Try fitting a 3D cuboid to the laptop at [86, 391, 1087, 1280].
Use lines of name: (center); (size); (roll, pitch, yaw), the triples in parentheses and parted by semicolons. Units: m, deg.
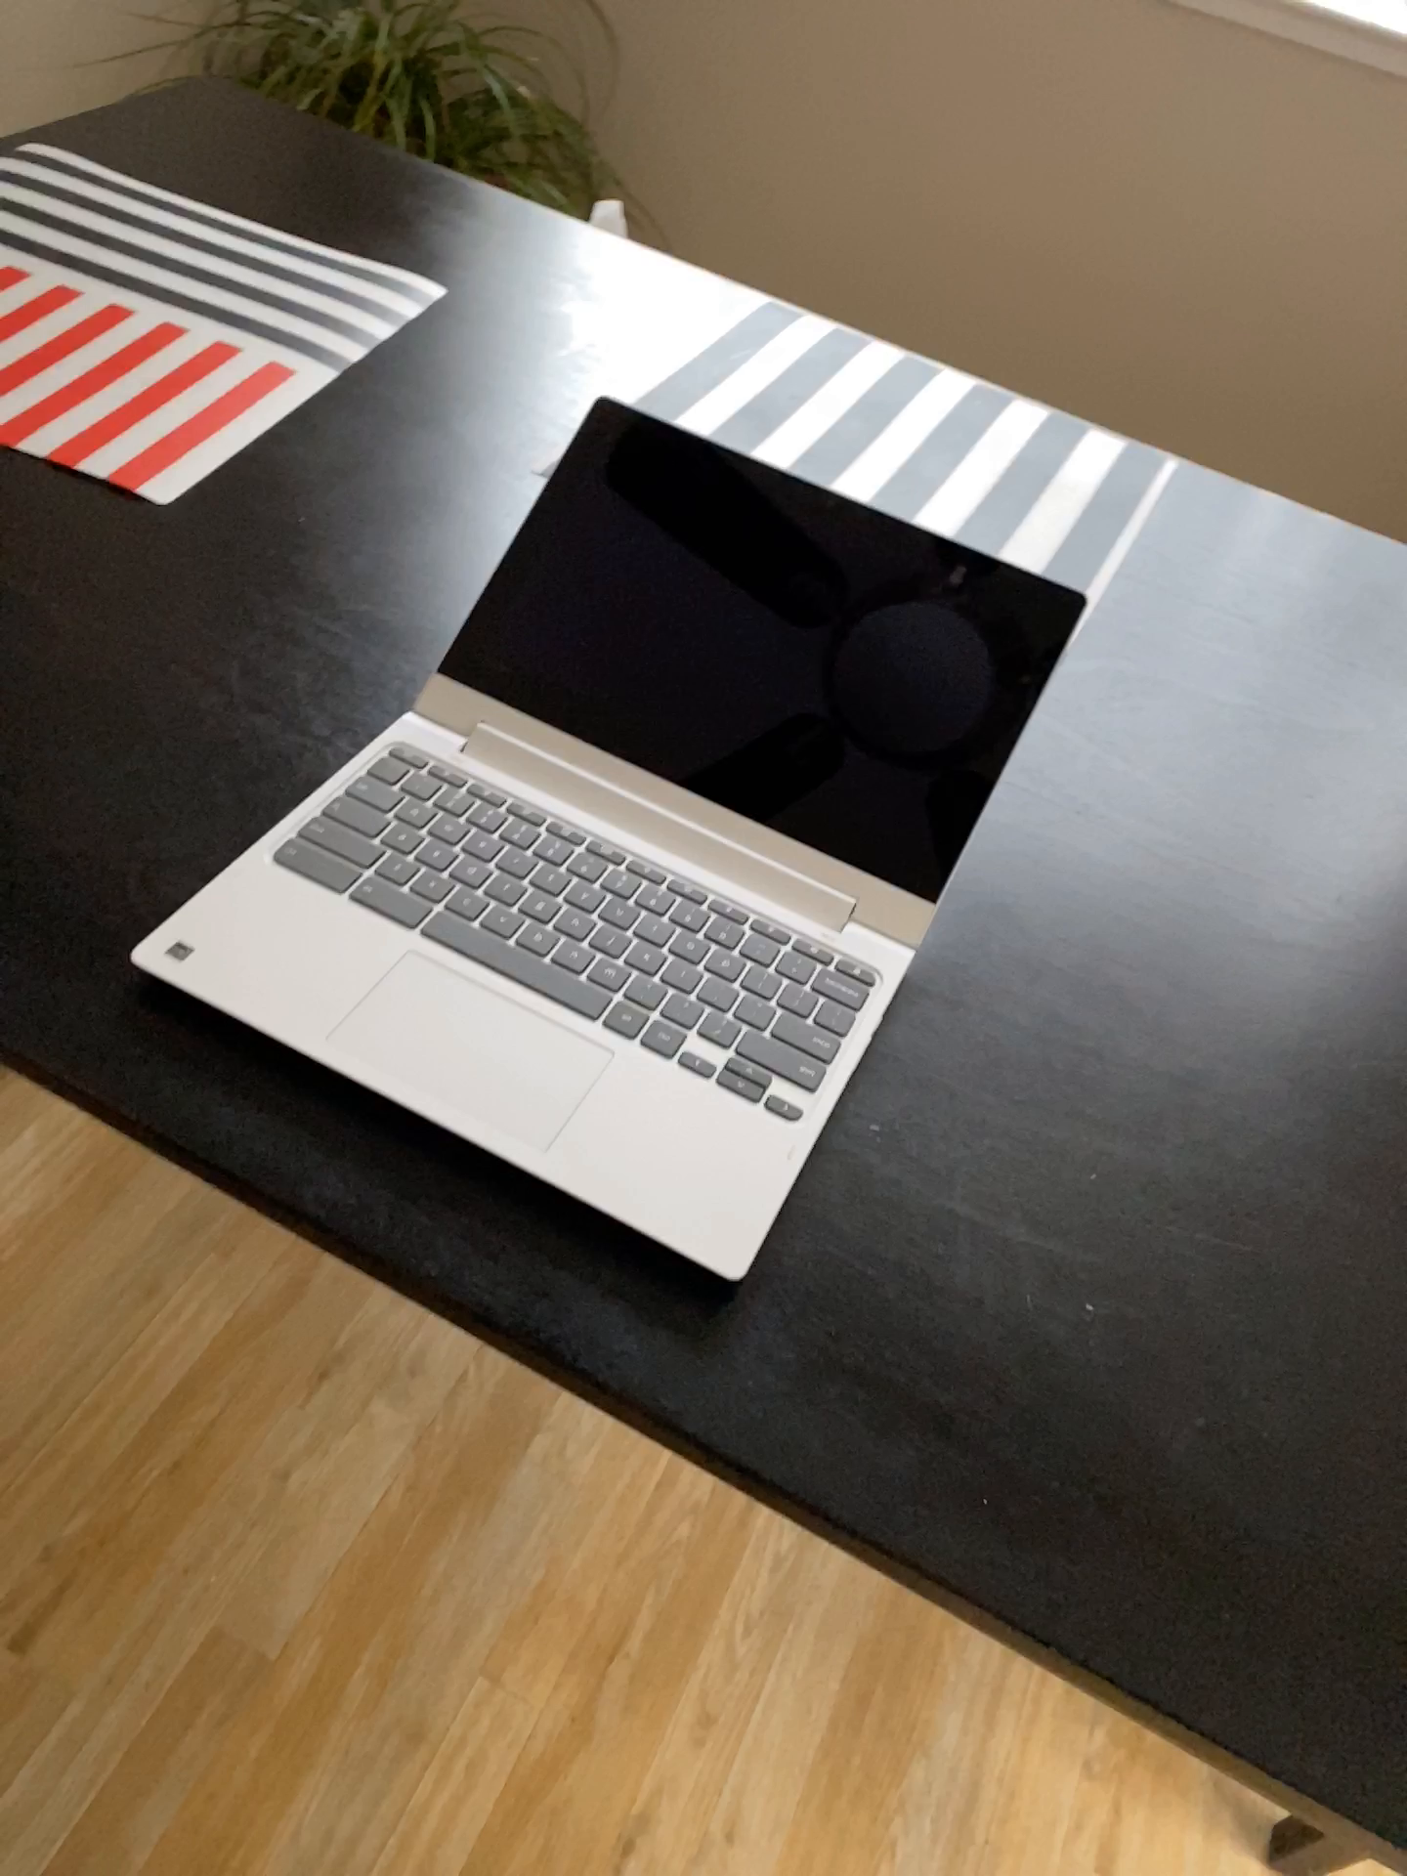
laptop: (-0.023, -0.083, 0.655); (0.285, 0.106, 0.382); (26, 47, 10)
